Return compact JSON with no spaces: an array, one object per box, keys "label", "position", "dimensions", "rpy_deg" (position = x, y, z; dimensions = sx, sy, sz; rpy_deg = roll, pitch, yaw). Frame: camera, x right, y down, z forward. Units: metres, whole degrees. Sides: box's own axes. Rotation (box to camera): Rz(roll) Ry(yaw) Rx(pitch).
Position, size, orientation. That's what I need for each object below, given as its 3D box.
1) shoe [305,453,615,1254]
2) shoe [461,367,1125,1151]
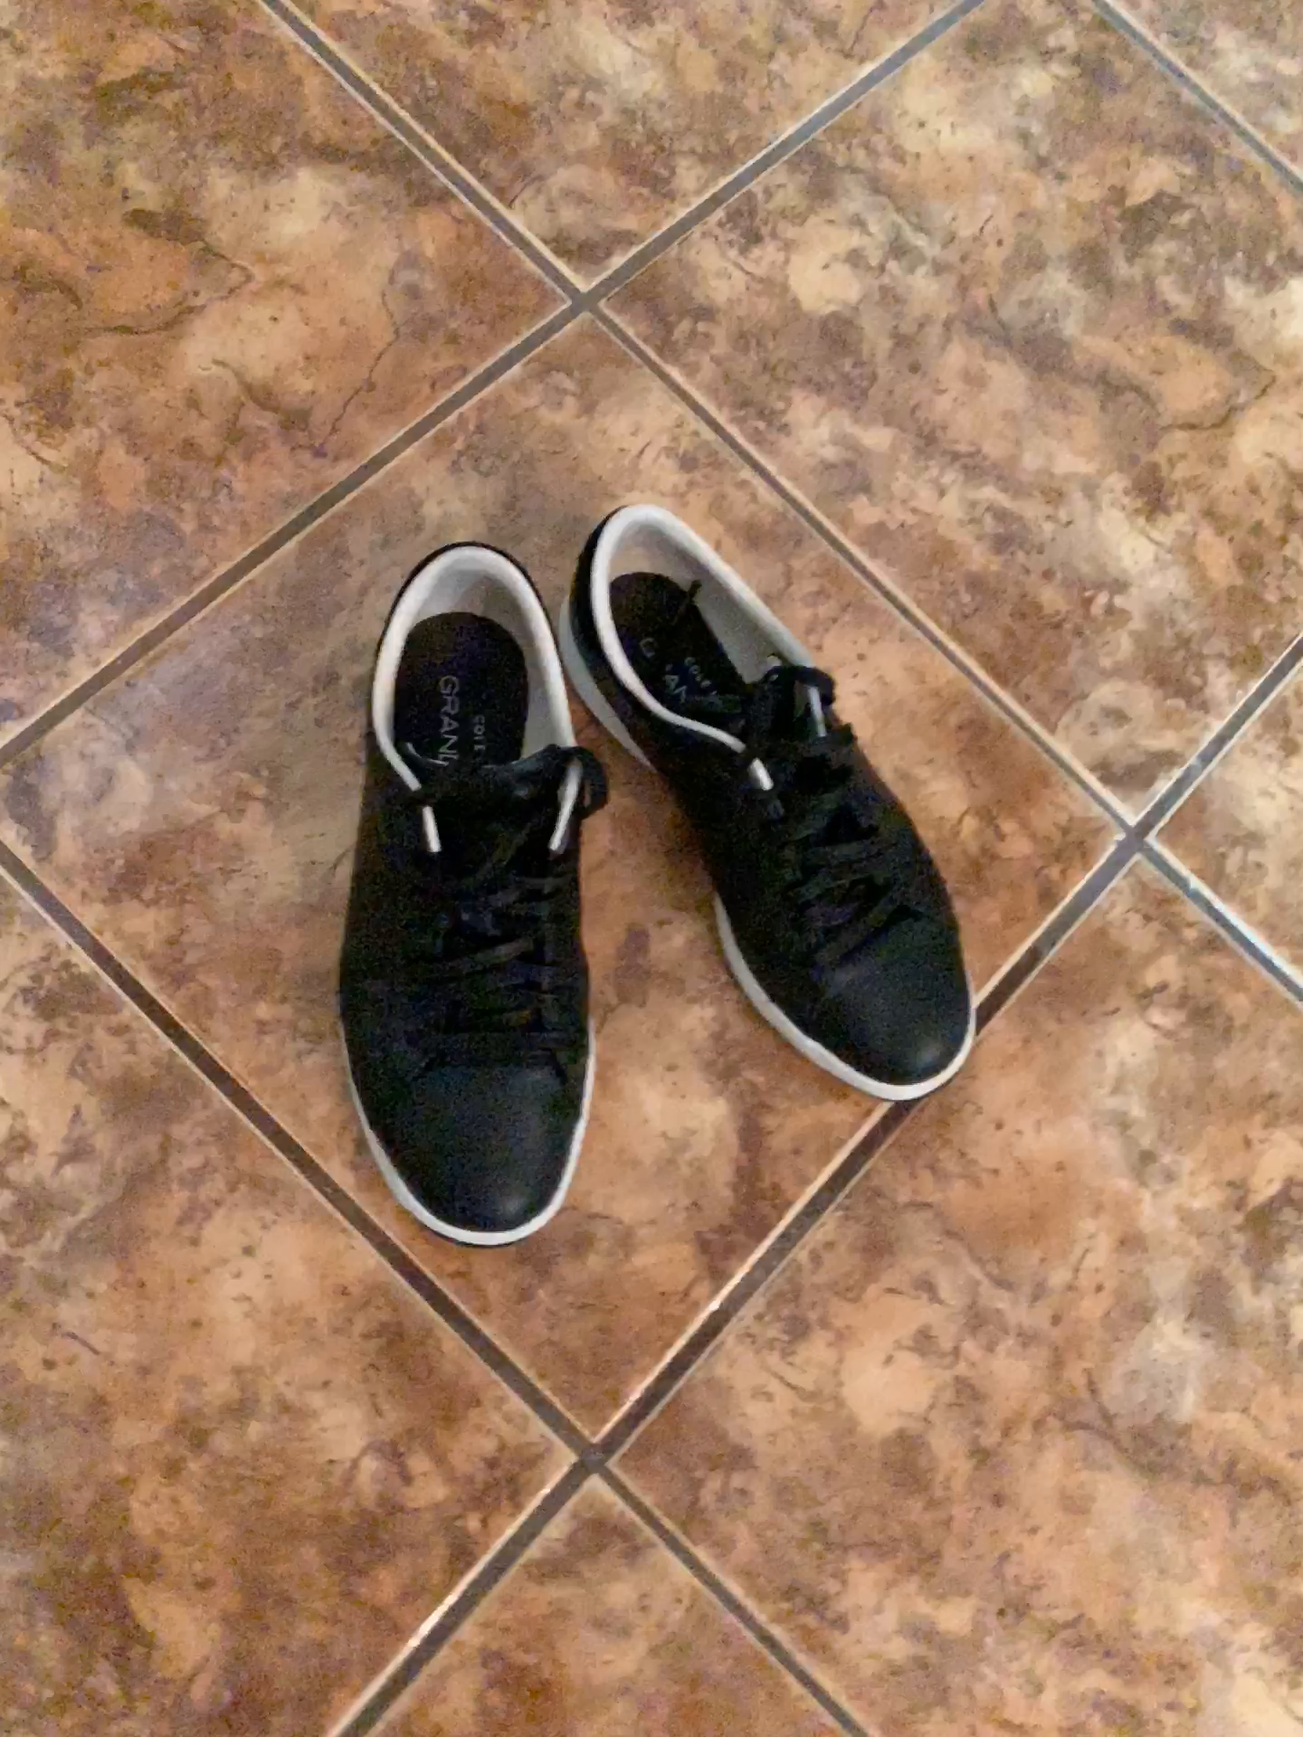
[{"label":"shoe","position":[-0.064,-0.001,0.456],"dimensions":[0.087,0.093,0.255],"rpy_deg":[2,74,-9]},{"label":"shoe","position":[0.038,-0.035,0.484],"dimensions":[0.090,0.103,0.255],"rpy_deg":[-31,81,-16]}]
